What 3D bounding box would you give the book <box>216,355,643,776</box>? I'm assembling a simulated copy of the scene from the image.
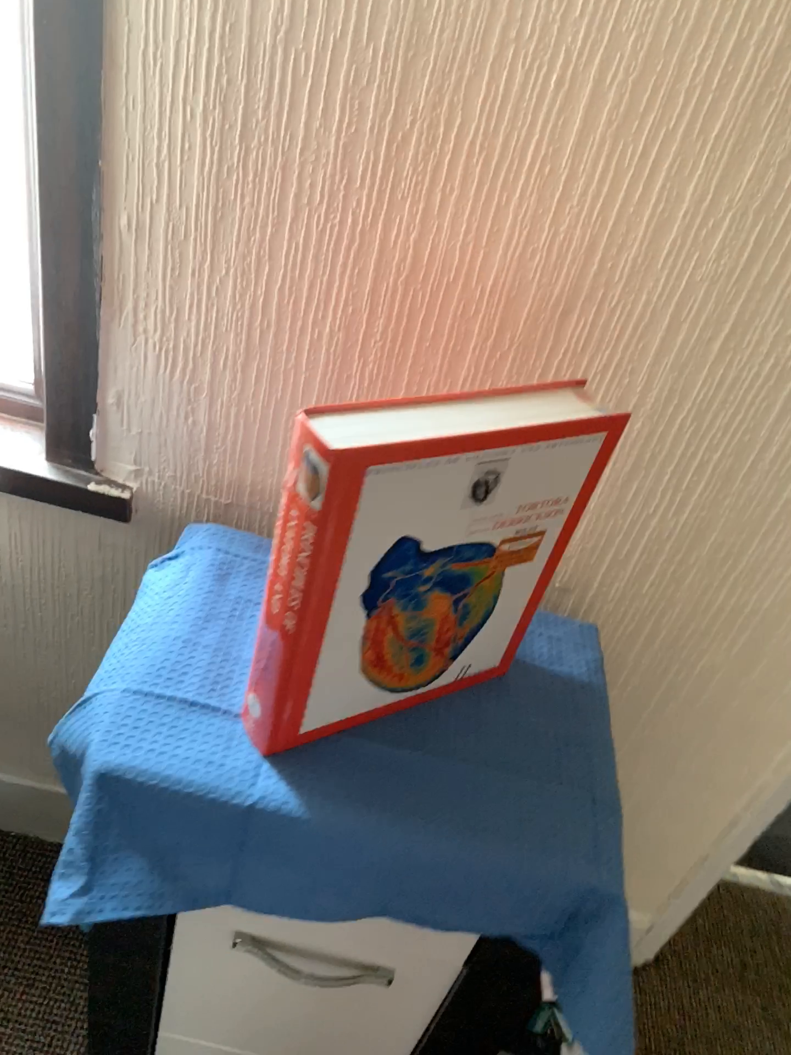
[{"bbox_3d":[0.016,0.026,0.590,0.261,0.287,0.060,-11,42,-32],"label":"book"}]
